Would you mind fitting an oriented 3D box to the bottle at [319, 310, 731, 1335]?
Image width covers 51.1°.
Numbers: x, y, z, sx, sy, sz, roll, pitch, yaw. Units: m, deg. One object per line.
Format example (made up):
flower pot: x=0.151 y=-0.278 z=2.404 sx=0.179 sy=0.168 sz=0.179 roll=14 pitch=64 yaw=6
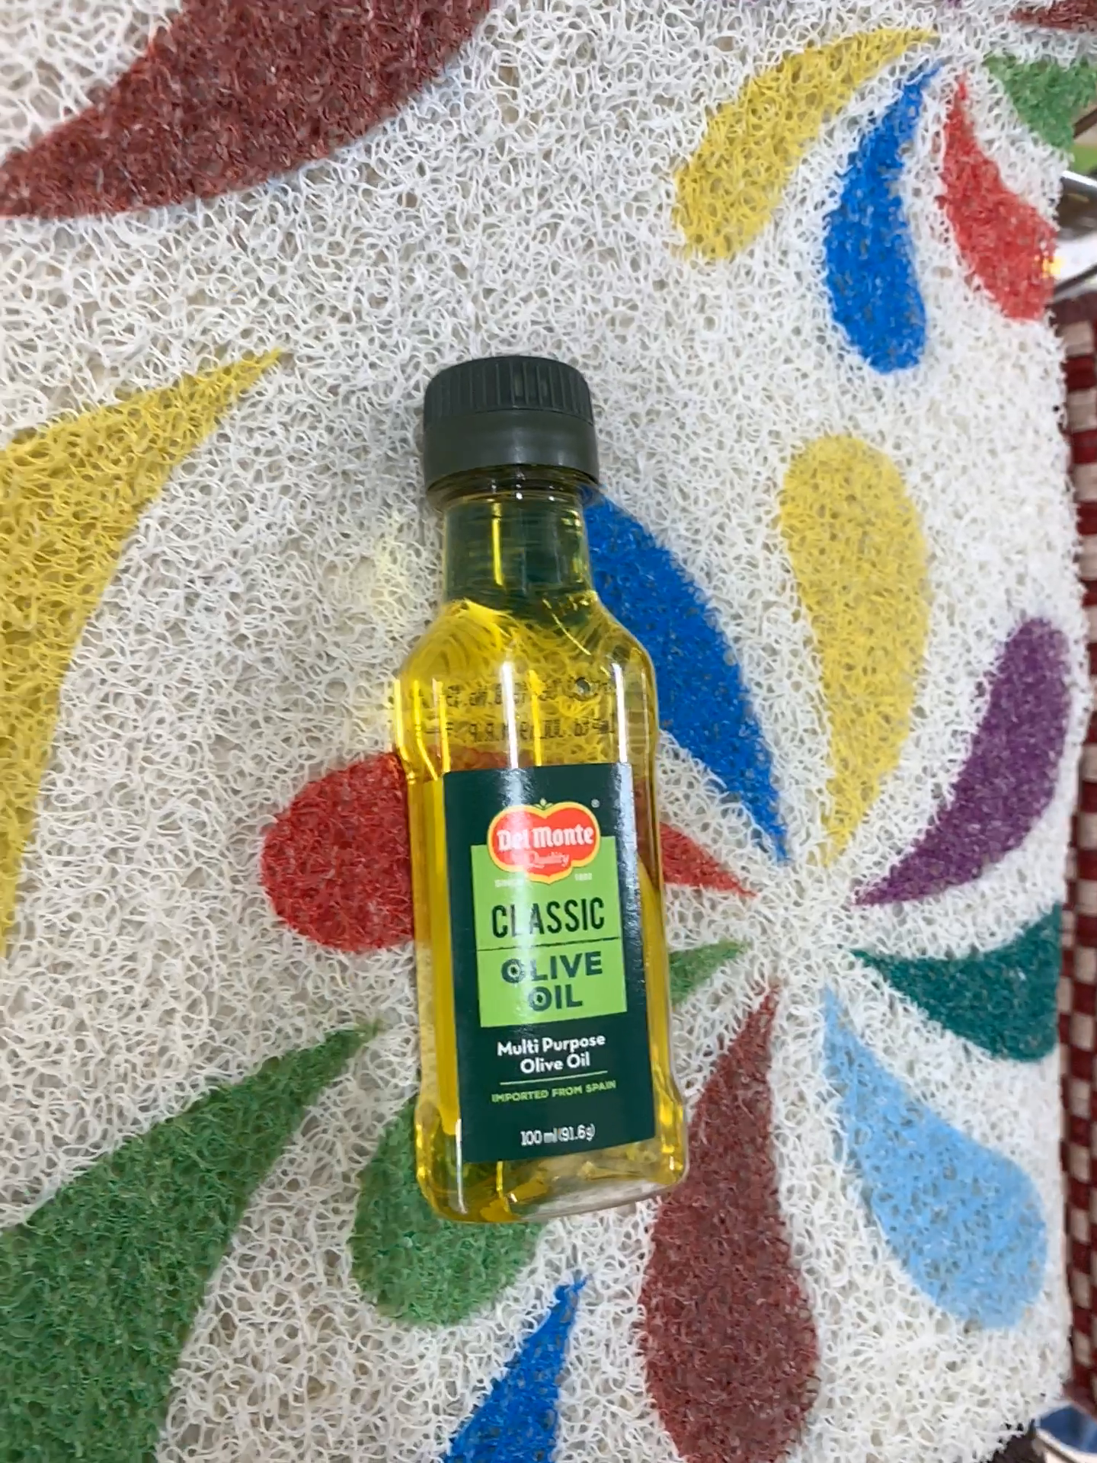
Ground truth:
bottle: x=-0.005 y=0.012 z=0.174 sx=0.050 sy=0.040 sz=0.130 roll=0 pitch=90 yaw=-24
